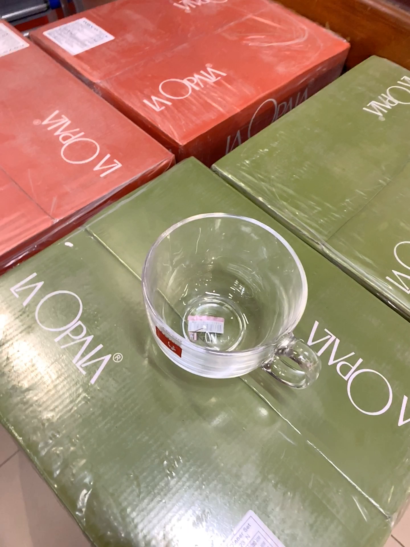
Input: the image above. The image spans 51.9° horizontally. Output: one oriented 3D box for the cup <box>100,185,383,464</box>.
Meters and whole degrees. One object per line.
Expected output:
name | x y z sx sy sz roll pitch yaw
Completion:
cup | 0.020 0.033 0.301 0.140 0.090 0.110 37 61 18
